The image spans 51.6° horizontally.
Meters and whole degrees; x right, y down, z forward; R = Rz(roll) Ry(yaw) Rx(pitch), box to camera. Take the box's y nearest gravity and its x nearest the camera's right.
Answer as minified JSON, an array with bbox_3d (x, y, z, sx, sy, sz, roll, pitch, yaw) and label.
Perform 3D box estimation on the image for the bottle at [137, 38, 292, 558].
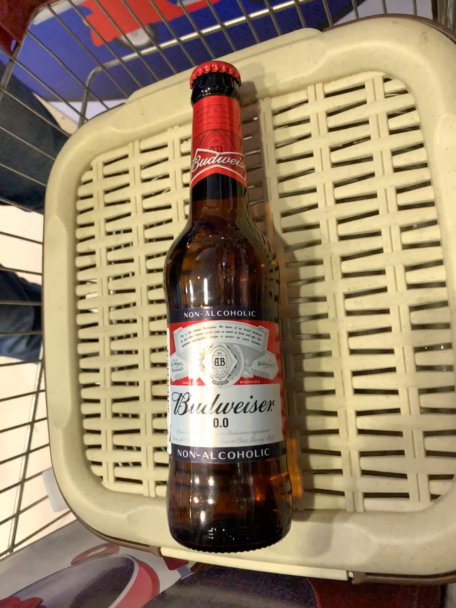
[{"bbox_3d":[-0.005,-0.005,0.232,0.060,0.060,0.220,-3,84,8],"label":"bottle"}]
